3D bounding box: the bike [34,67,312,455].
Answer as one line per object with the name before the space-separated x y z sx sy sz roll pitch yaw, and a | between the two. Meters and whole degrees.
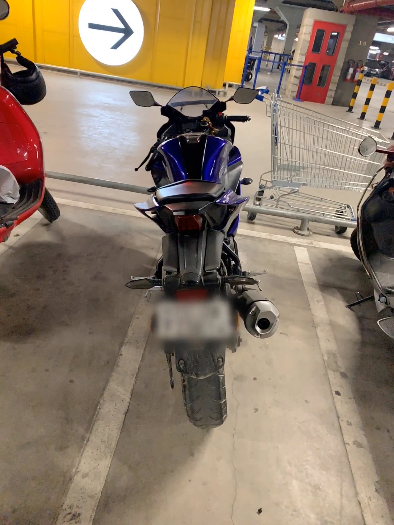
bike | -0.255 -0.216 1.892 0.687 0.933 1.657 3 33 -11
